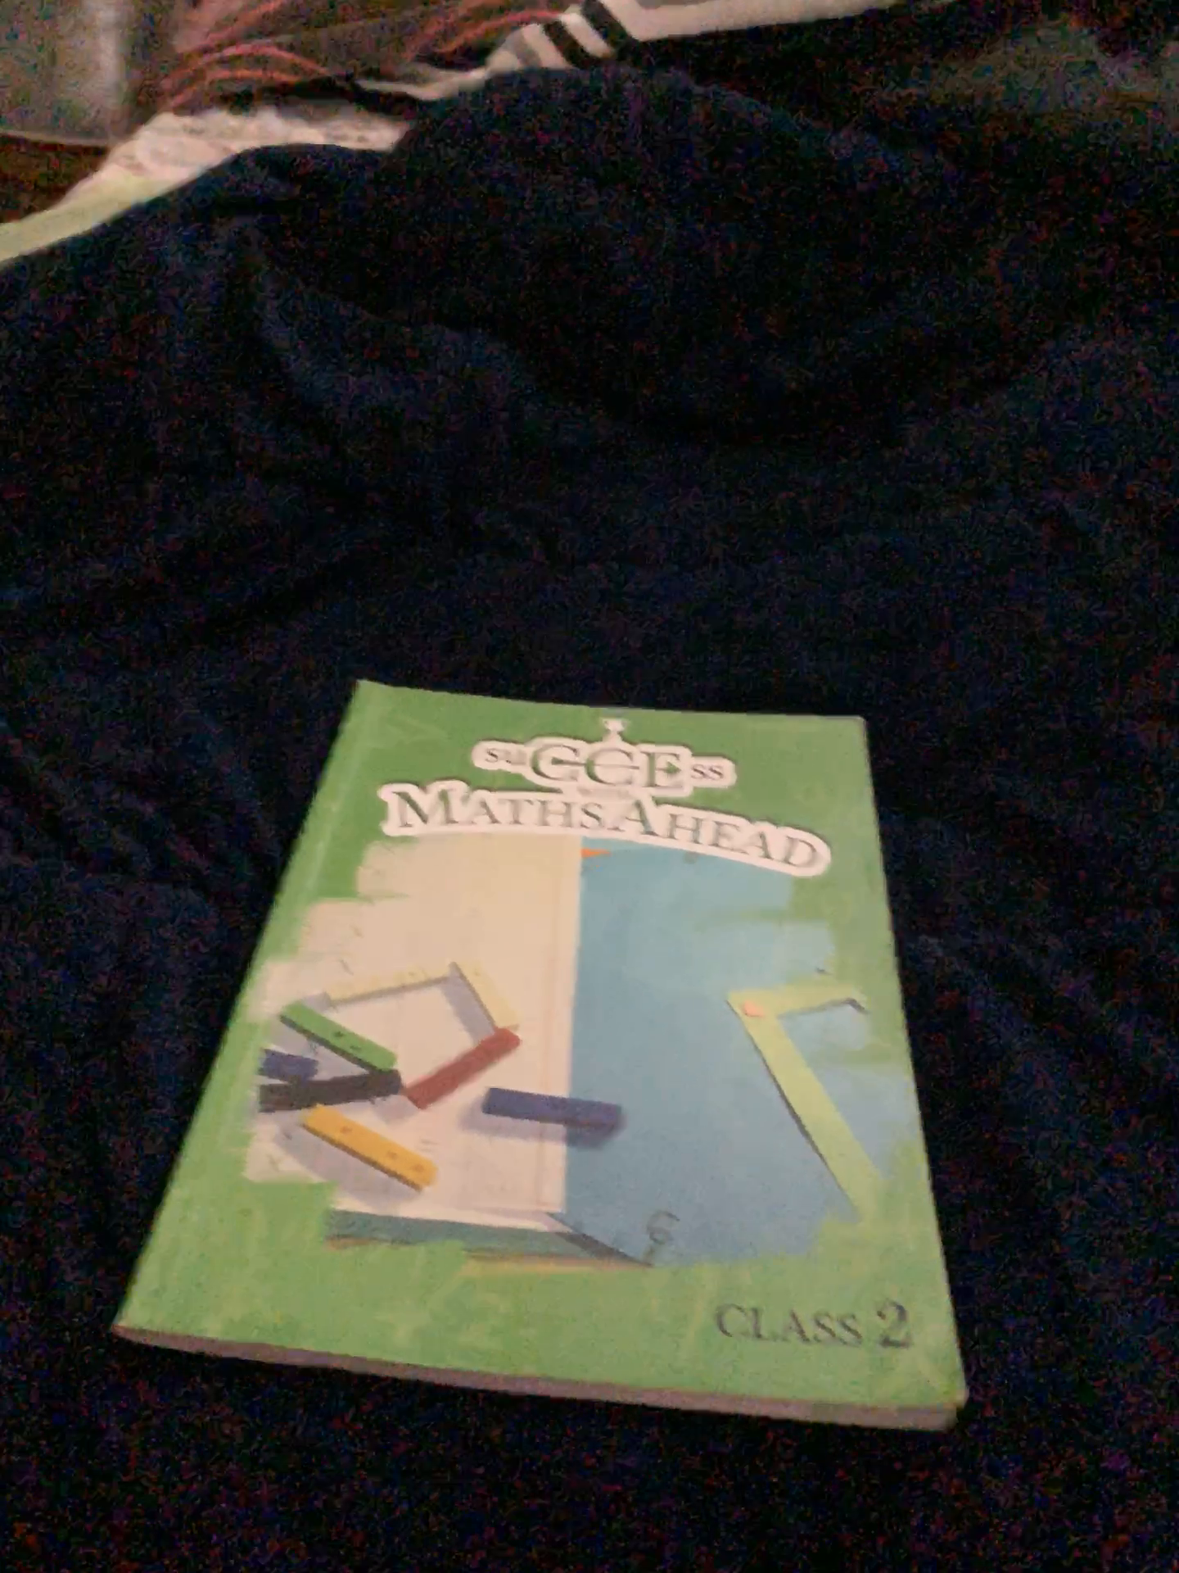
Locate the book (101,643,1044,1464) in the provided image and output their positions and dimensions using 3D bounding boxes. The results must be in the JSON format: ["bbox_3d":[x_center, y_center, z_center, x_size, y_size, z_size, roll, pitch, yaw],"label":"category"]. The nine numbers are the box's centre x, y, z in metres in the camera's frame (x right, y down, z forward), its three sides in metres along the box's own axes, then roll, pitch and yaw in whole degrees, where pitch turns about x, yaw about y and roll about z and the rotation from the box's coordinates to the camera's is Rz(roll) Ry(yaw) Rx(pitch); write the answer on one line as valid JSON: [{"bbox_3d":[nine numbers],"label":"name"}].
[{"bbox_3d":[0.006,0.056,0.404,0.230,0.020,0.281,5,44,1],"label":"book"}]
